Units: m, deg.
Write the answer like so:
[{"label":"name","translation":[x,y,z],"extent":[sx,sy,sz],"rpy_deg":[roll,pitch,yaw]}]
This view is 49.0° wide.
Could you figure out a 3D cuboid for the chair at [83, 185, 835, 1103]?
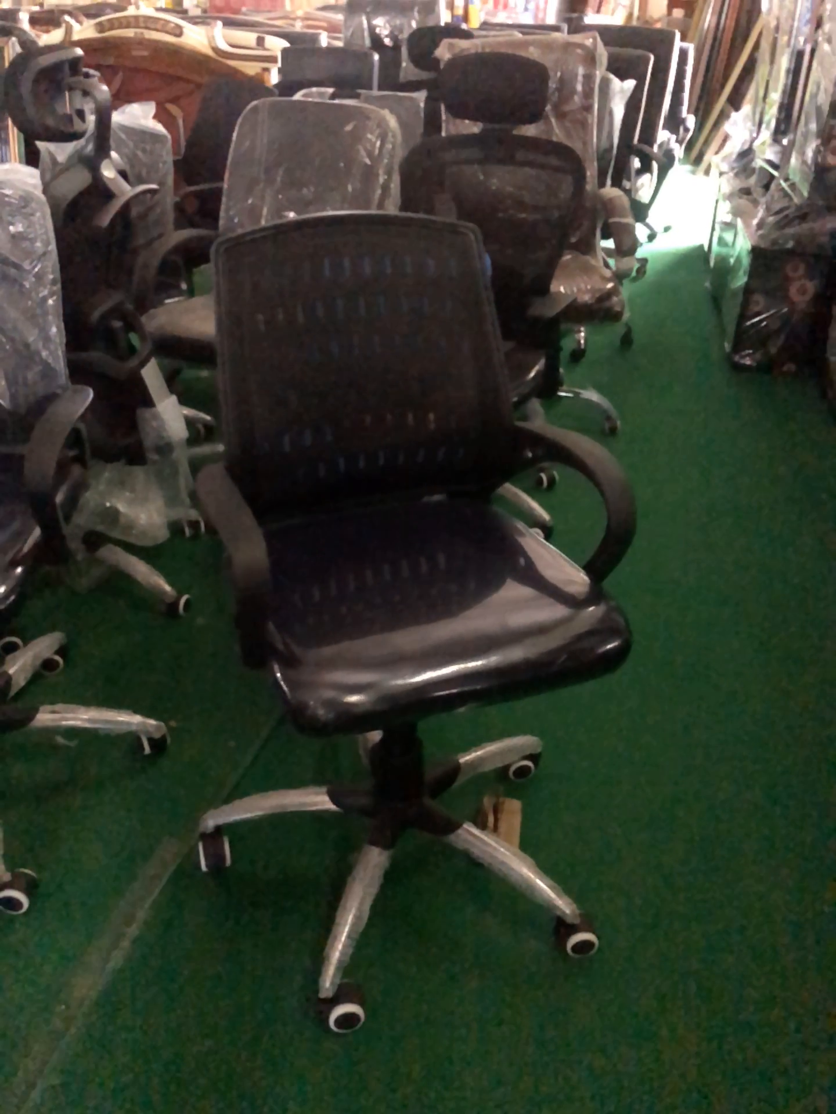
[{"label":"chair","translation":[-0.029,0.025,1.443],"extent":[0.732,0.995,0.873],"rpy_deg":[-10,32,-20]}]
